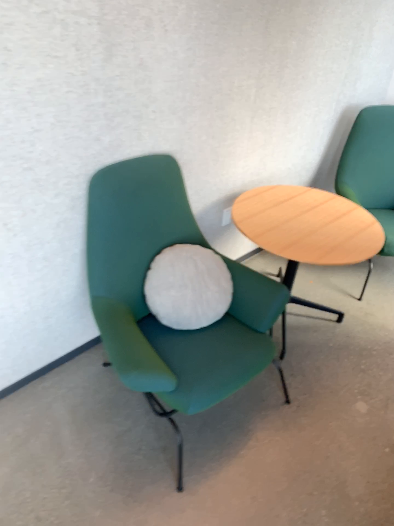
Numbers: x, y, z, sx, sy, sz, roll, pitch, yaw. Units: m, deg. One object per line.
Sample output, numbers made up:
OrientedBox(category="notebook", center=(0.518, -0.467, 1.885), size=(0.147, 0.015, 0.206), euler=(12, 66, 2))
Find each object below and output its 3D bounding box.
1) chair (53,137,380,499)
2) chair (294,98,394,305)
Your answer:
OrientedBox(category="chair", center=(0.021, 0.163, 1.735), size=(0.832, 1.033, 0.854), euler=(-24, 46, -33))
OrientedBox(category="chair", center=(1.319, -0.442, 2.630), size=(0.820, 0.954, 1.007), euler=(-3, 38, -11))
